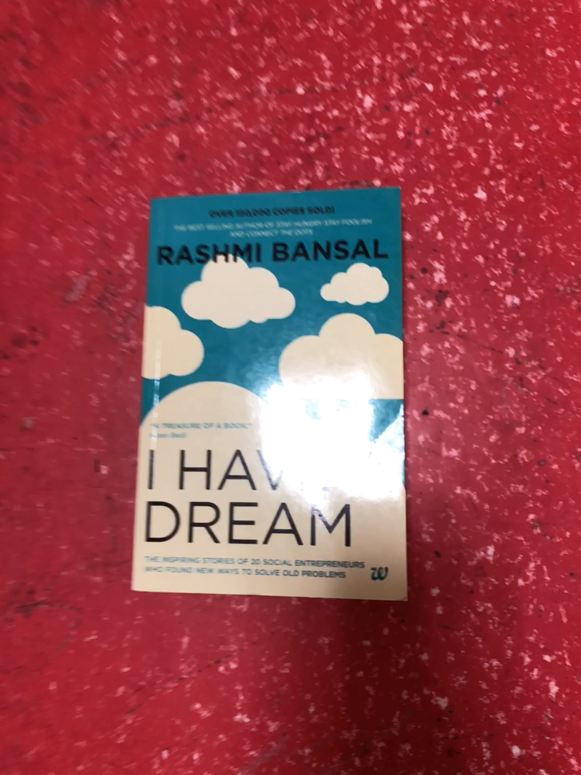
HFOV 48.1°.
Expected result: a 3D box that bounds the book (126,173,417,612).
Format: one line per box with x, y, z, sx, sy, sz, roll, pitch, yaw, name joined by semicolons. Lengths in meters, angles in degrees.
-0.008;0.001;0.317;0.130;0.030;0.200;-1;81;7;book
